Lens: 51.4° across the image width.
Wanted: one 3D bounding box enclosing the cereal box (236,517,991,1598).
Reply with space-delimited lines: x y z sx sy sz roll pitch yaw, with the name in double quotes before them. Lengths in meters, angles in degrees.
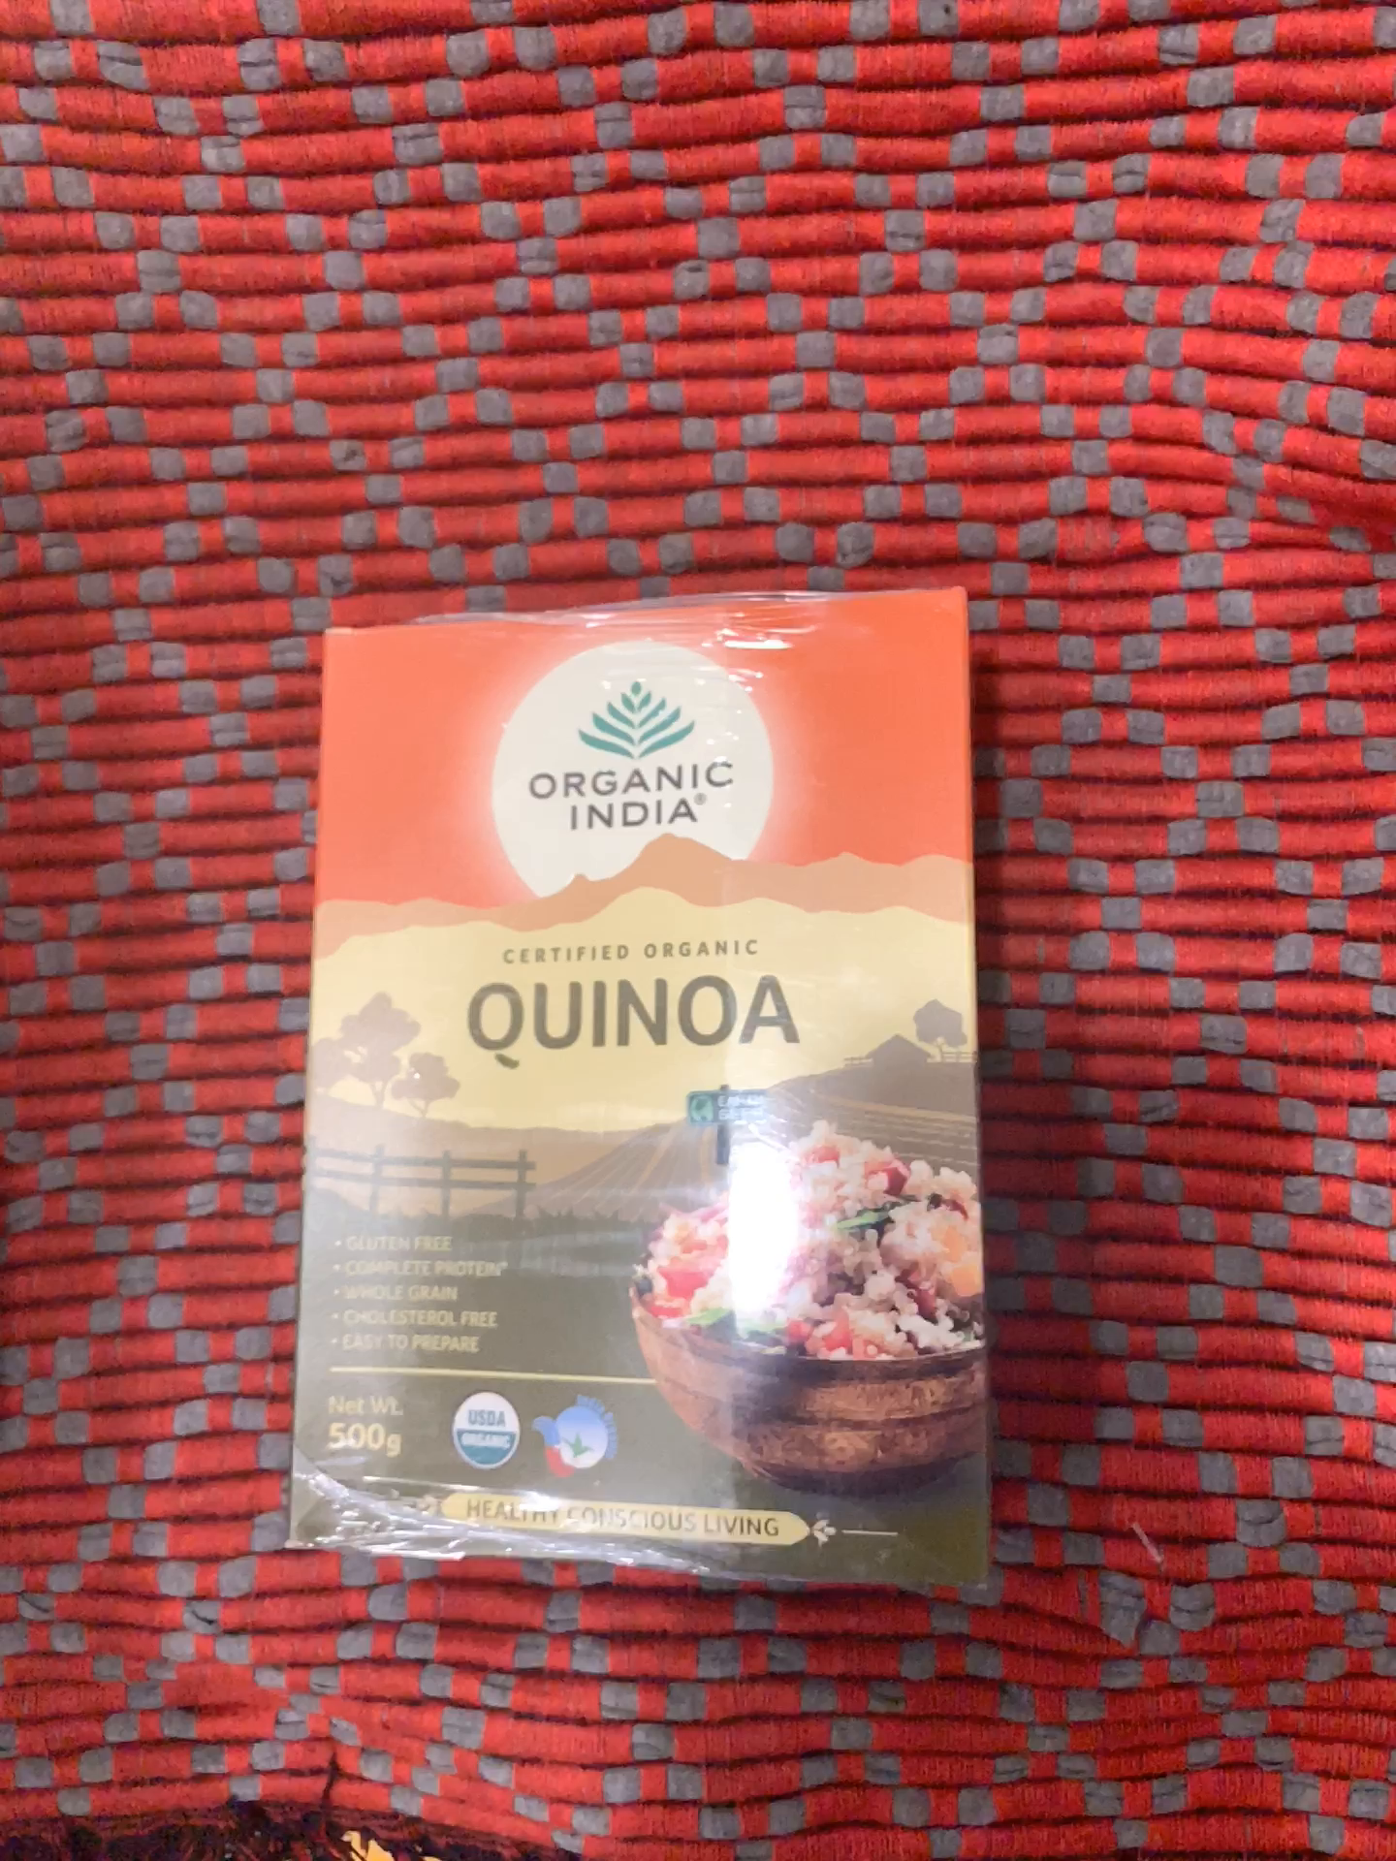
"cereal box" -0.011 0.023 0.288 0.130 0.070 0.180 -1 83 11
